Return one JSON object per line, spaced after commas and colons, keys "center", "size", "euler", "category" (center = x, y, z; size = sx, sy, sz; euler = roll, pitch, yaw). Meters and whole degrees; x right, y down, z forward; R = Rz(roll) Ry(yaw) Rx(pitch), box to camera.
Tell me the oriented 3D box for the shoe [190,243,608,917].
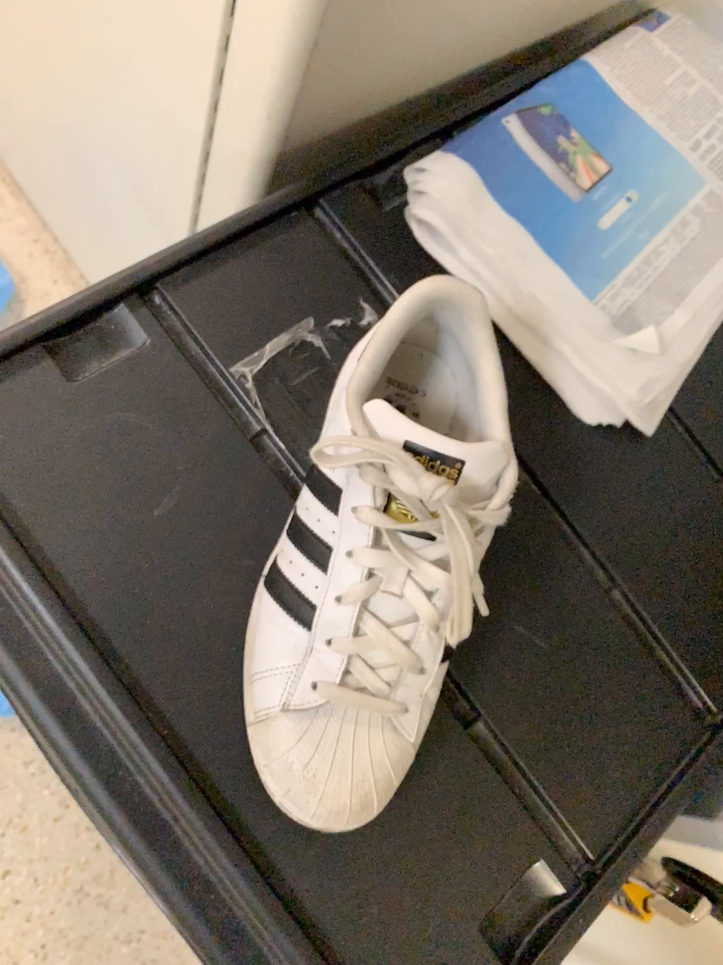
{"center": [0.016, 0.037, 0.338], "size": [0.103, 0.092, 0.243], "euler": [20, 76, -12], "category": "shoe"}
